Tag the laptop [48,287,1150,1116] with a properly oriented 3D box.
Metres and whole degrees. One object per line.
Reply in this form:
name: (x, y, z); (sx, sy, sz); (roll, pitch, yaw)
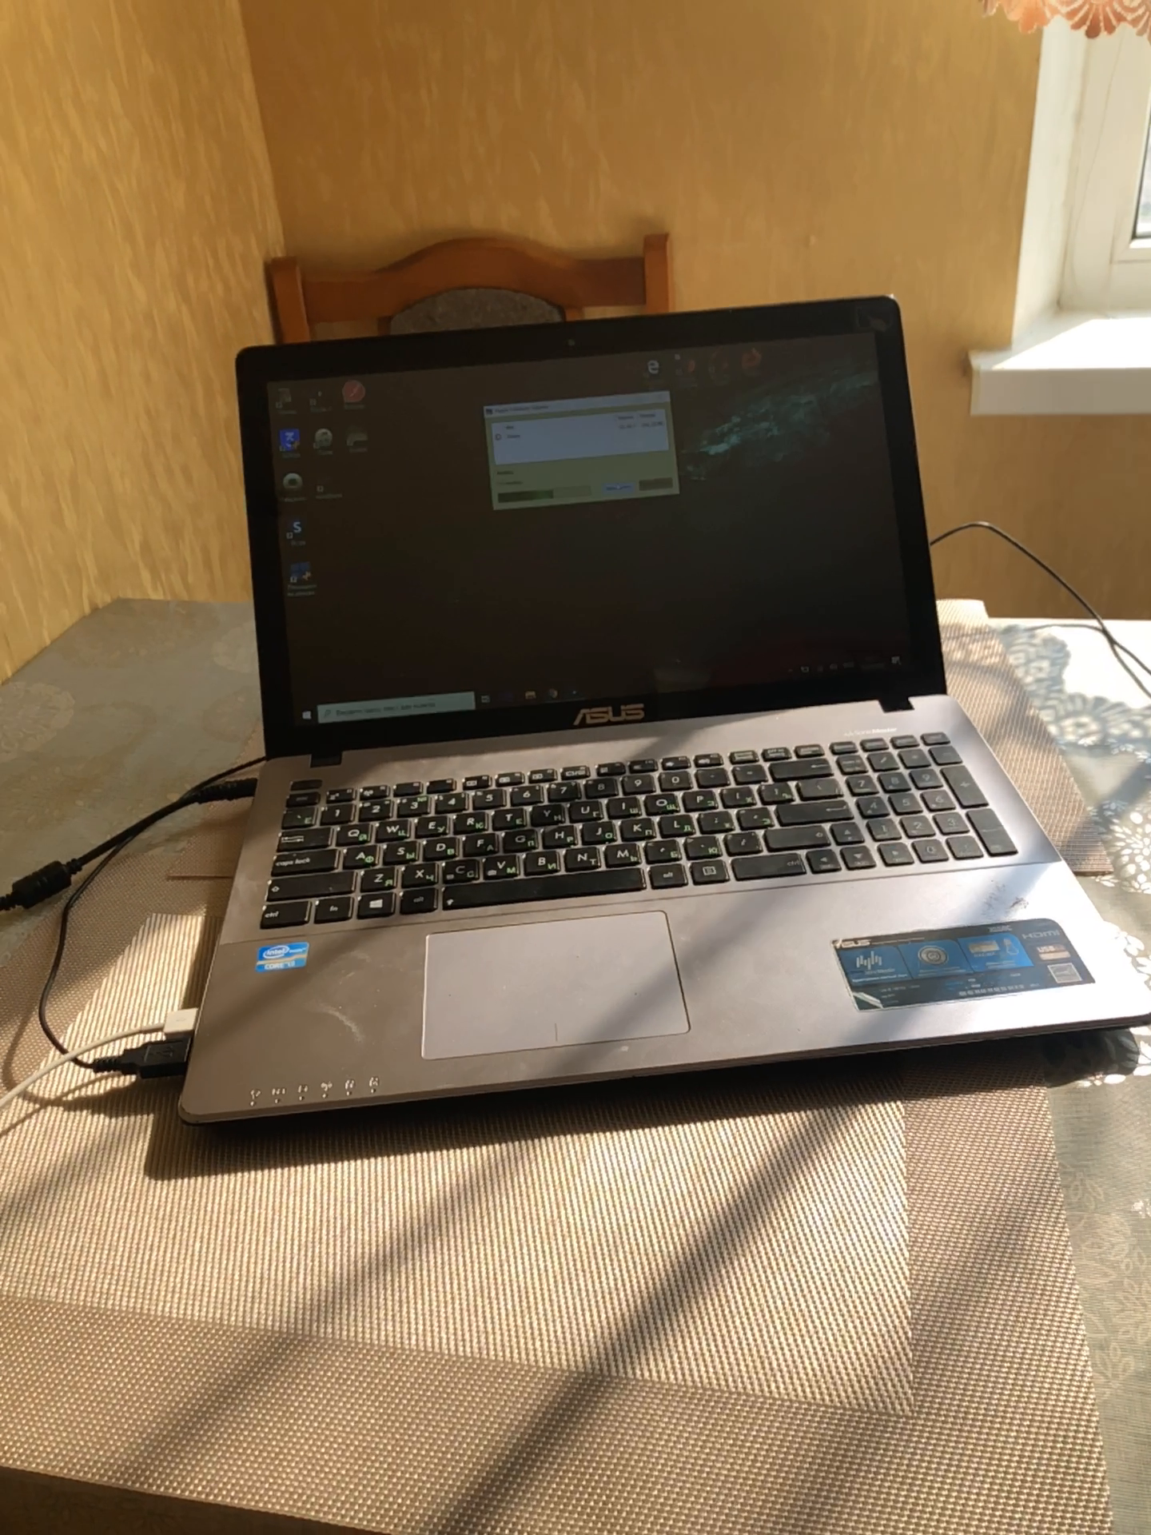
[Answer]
laptop: (0.018, -0.073, 0.606); (0.378, 0.183, 0.399); (-5, 33, -2)
